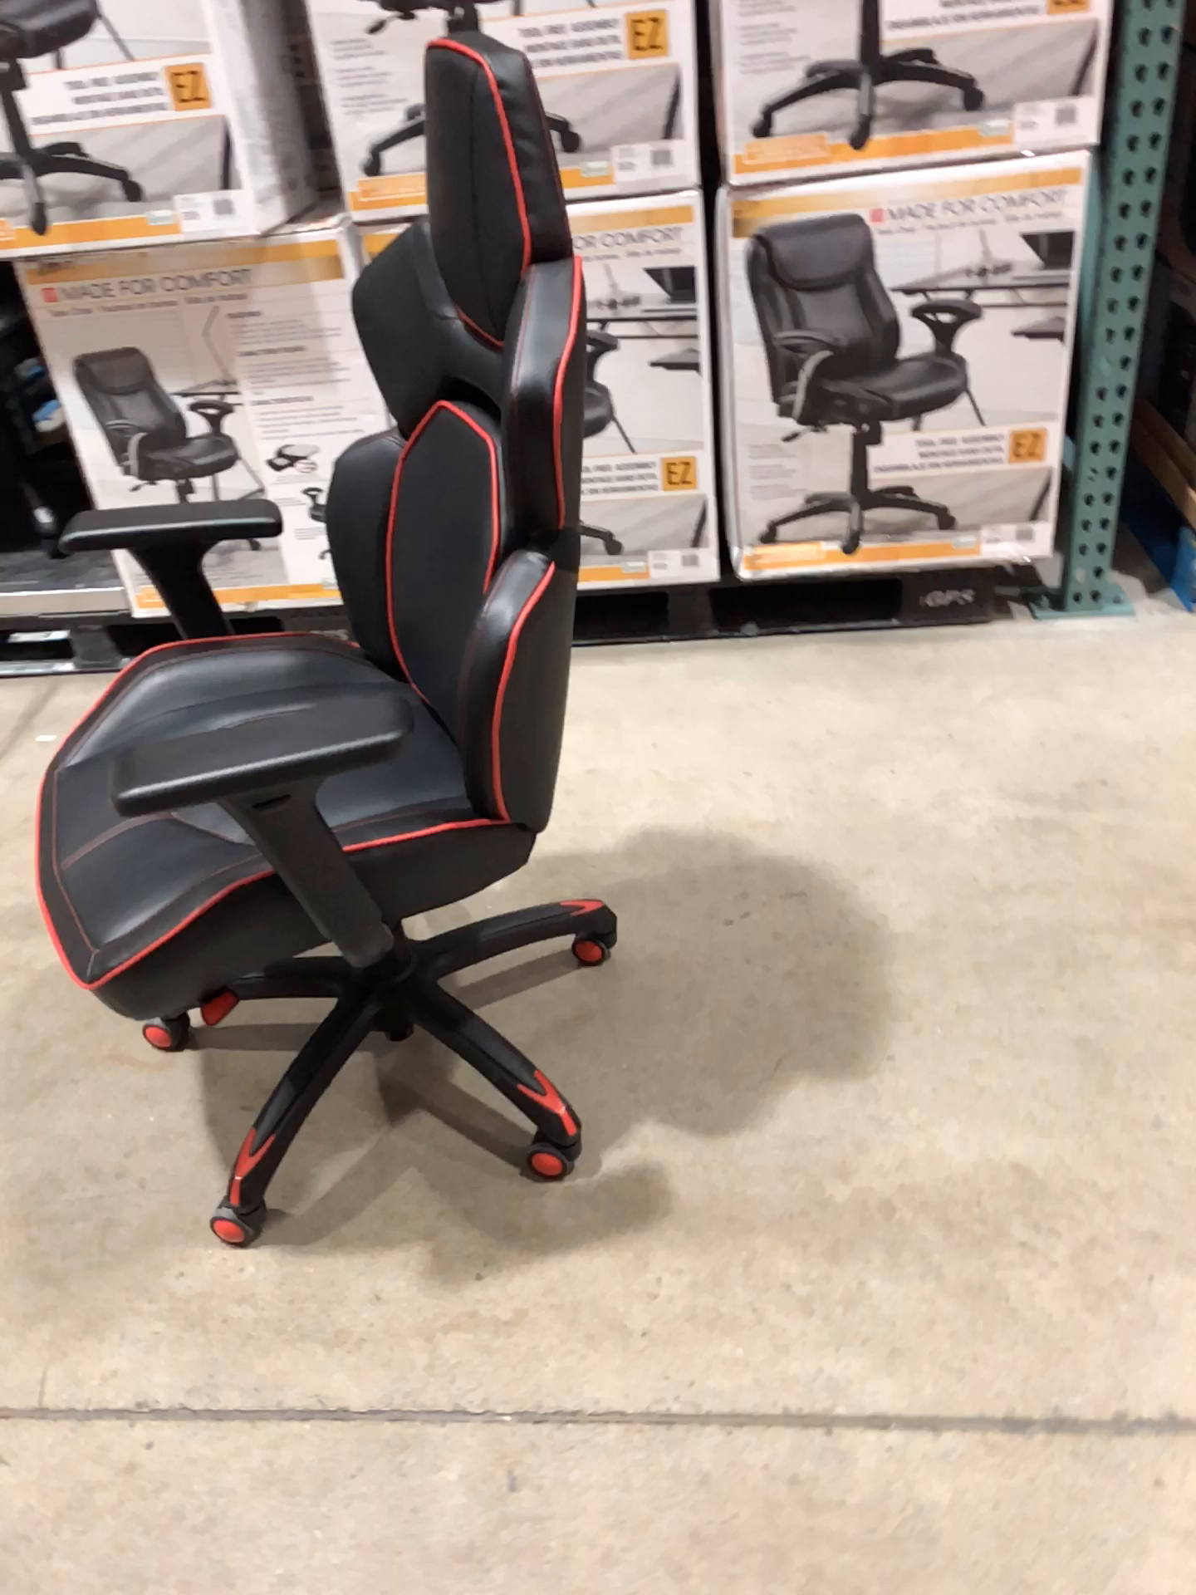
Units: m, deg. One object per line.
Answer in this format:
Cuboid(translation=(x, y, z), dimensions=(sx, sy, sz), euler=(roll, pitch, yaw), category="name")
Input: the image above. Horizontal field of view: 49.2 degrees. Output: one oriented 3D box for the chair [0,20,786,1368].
Cuboid(translation=(-0.306, -0.156, 1.460), dimensions=(0.720, 1.145, 0.723), euler=(-21, 36, -20), category="chair")
